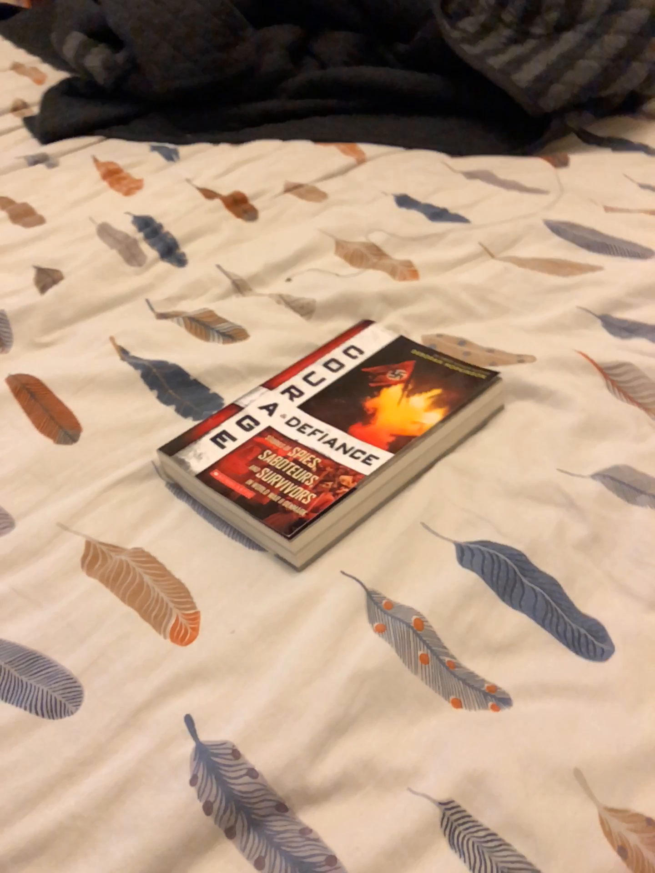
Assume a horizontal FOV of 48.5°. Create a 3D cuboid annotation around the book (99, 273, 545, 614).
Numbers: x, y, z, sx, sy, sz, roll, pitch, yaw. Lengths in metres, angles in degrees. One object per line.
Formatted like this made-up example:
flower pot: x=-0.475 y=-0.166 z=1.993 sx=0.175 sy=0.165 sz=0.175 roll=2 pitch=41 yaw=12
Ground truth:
book: x=-0.001 y=-0.019 z=0.500 sx=0.200 sy=0.020 sz=0.231 roll=32 pitch=55 yaw=30
